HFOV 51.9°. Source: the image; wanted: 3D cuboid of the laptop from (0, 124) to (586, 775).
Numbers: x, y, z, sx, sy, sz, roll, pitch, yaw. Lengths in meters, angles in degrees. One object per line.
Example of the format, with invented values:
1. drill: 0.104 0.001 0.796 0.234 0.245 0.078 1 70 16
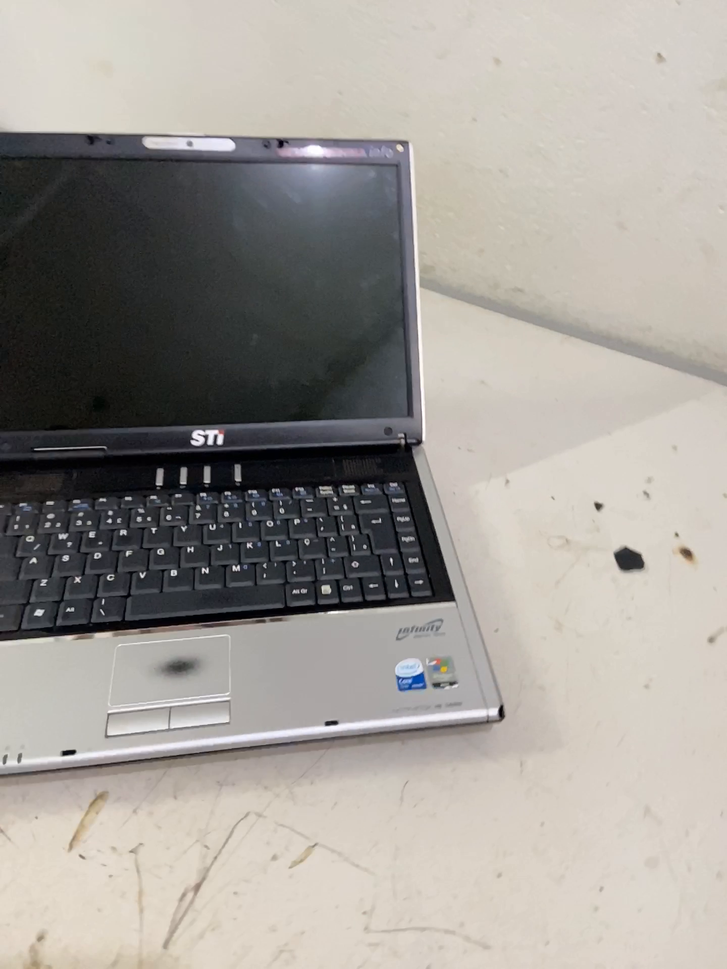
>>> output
1. laptop: -0.105 -0.062 0.467 0.325 0.167 0.388 -3 45 -8
